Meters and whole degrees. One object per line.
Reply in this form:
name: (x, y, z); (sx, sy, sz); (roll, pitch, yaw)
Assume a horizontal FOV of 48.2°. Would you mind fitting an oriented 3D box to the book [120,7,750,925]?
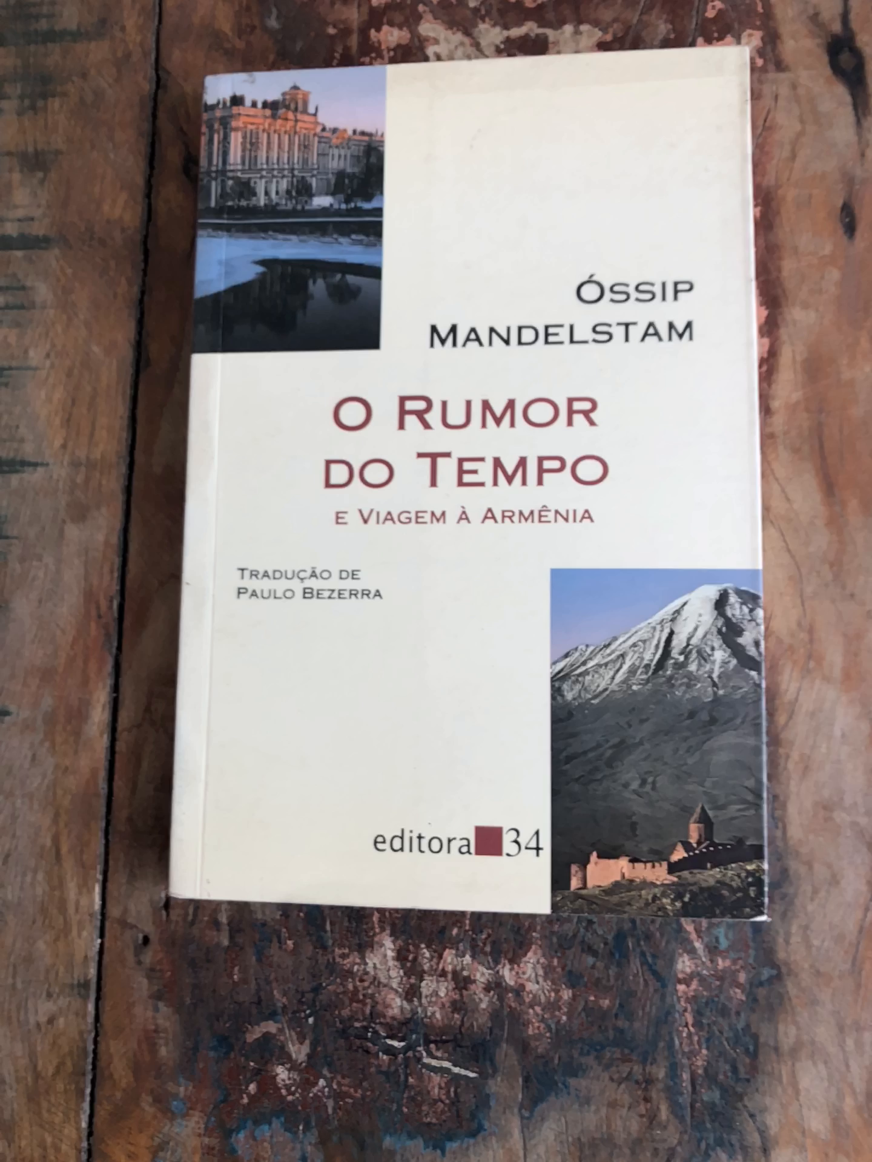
book: (-0.001, -0.029, 0.236); (0.140, 0.022, 0.207); (0, 84, 7)
